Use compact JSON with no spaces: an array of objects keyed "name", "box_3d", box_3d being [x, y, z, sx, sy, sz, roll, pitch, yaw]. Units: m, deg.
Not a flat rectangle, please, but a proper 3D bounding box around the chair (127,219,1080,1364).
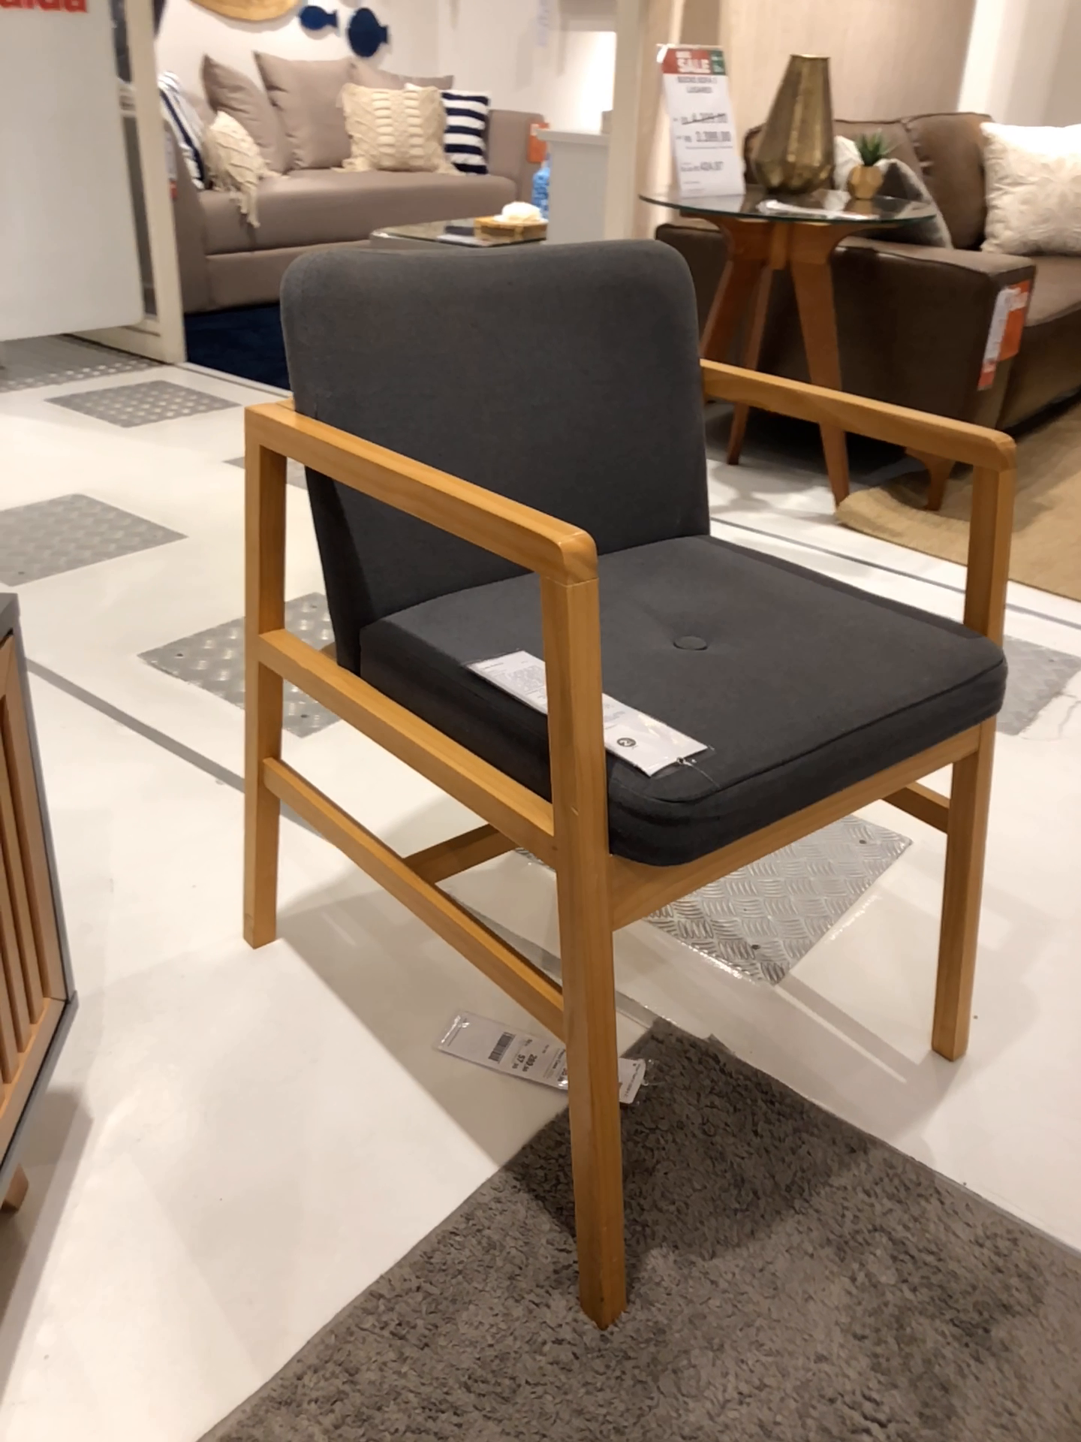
[{"name":"chair","box_3d":[0.061,-0.042,1.149,0.562,0.734,0.702,-20,35,-37]}]
